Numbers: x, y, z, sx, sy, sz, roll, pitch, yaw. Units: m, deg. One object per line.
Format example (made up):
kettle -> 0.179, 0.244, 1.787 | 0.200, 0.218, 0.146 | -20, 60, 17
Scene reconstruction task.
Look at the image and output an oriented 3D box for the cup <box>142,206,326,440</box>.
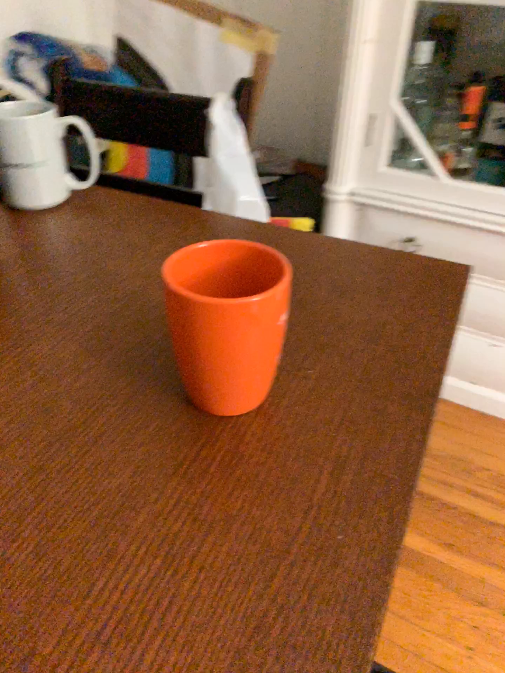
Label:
cup -> -0.021, -0.017, 0.389 | 0.100, 0.109, 0.131 | -7, 37, -12
